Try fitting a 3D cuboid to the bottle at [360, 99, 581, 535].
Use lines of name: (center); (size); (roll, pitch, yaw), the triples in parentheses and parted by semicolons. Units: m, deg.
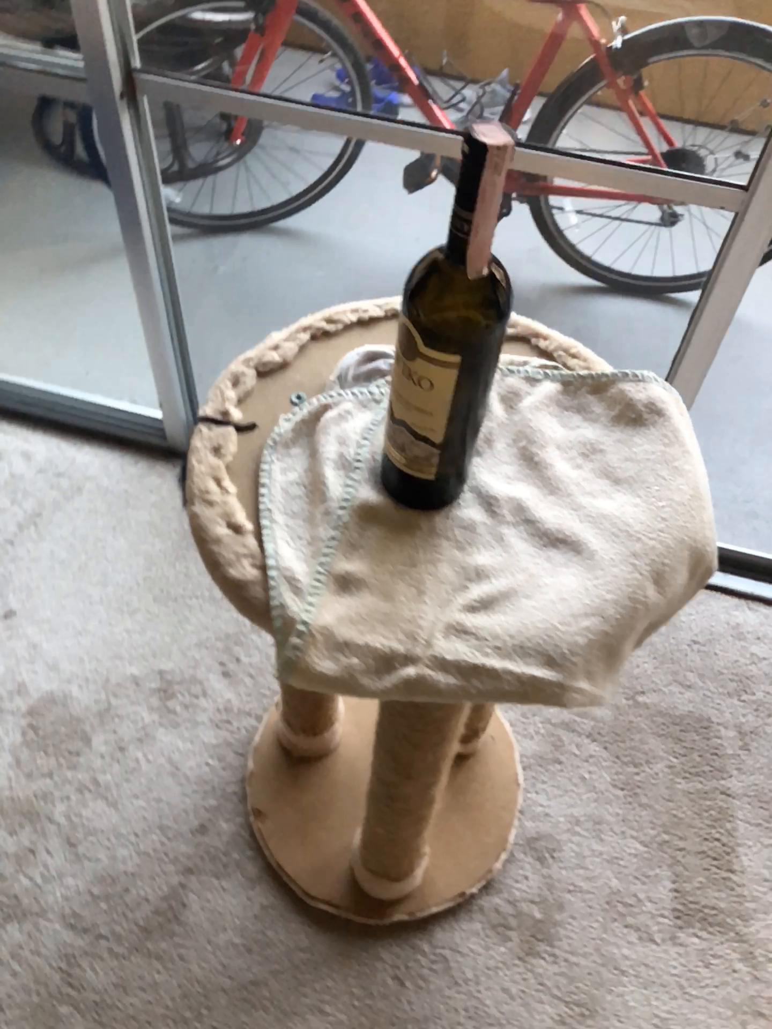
bottle: (0.039, -0.108, 0.547); (0.080, 0.269, 0.080); (2, 52, -3)
